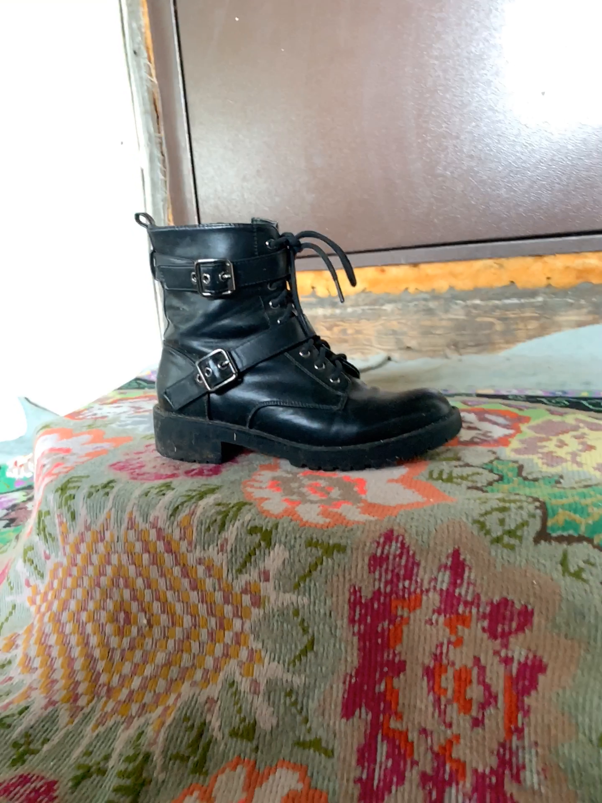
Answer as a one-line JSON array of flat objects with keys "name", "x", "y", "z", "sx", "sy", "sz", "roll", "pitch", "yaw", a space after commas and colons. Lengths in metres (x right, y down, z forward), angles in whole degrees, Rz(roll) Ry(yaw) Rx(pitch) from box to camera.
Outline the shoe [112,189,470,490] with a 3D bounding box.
[{"name": "shoe", "x": -0.001, "y": -0.044, "z": 0.468, "sx": 0.240, "sy": 0.189, "sz": 0.090, "roll": -1, "pitch": 12, "yaw": 18}]
